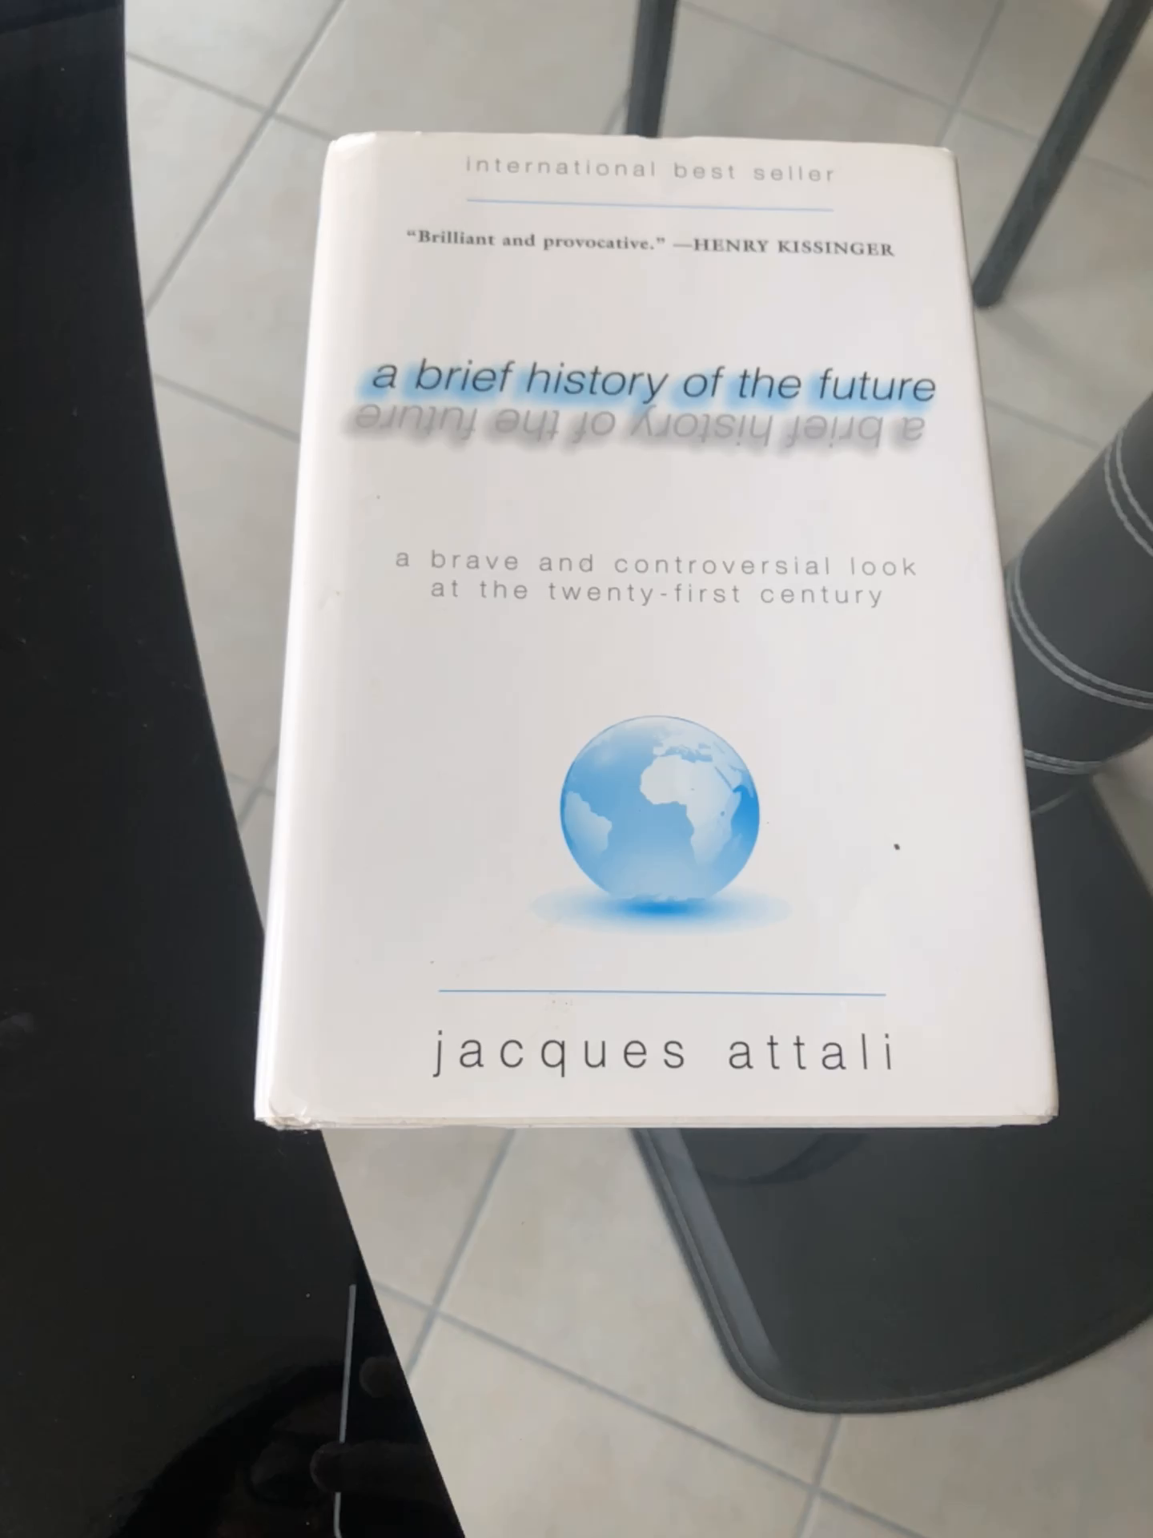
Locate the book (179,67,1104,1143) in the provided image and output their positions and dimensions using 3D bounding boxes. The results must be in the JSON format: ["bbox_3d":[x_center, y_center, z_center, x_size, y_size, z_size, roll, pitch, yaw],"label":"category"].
[{"bbox_3d":[0.012,-0.036,0.257,0.150,0.040,0.210,2,73,-3],"label":"book"}]
